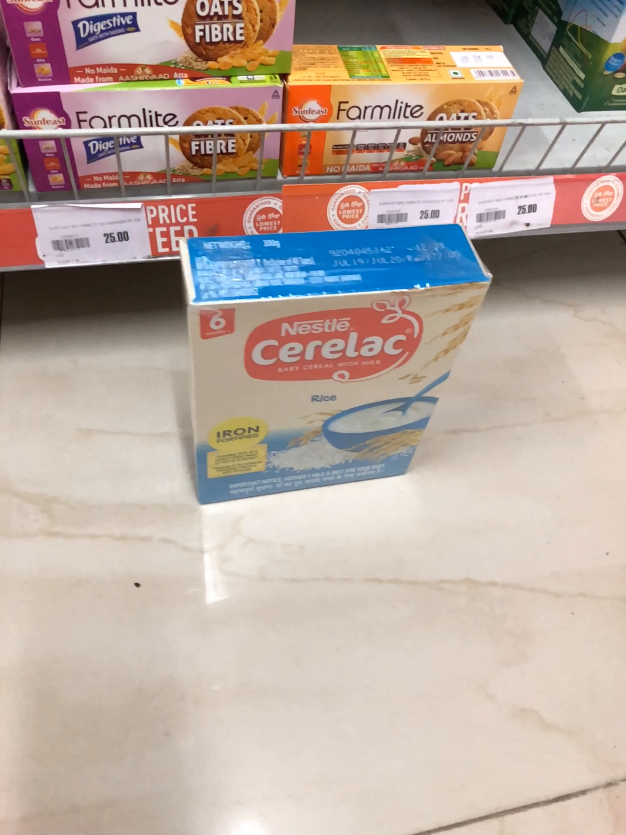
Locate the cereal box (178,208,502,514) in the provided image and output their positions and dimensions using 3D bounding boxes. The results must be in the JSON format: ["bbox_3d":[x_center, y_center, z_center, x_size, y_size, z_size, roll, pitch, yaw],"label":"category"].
[{"bbox_3d":[0.003,-0.024,0.416,0.150,0.189,0.060,-8,56,-13],"label":"cereal box"}]
